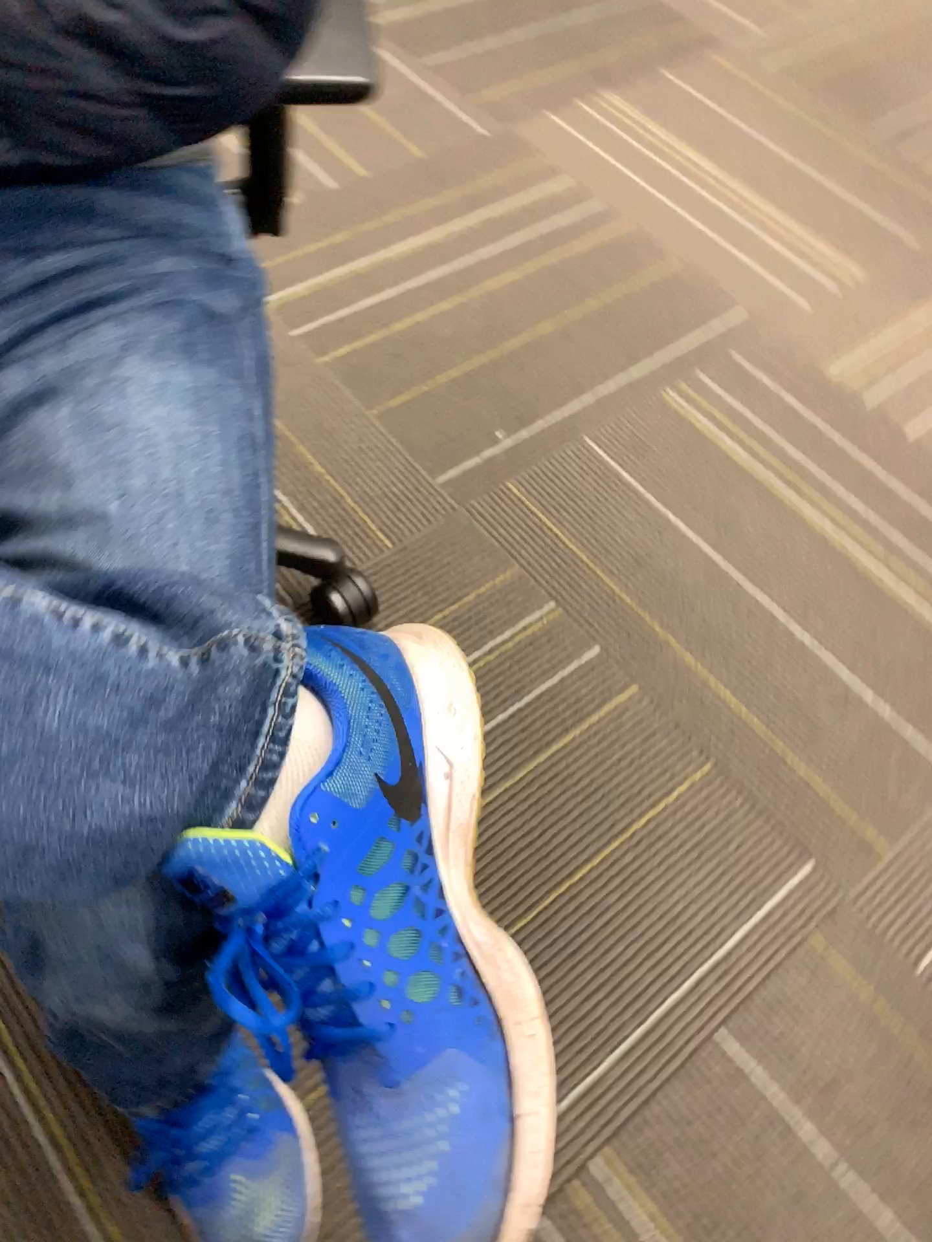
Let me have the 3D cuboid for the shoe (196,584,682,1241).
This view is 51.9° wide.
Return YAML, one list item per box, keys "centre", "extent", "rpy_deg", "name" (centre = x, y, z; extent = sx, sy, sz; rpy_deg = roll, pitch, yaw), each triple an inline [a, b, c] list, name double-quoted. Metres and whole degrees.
- centre: [-0.032, 0.136, 0.400]
  extent: [0.103, 0.117, 0.276]
  rpy_deg: [8, 51, -33]
  name: "shoe"

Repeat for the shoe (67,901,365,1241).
- centre: [-0.203, 0.384, 0.771]
  extent: [0.101, 0.086, 0.284]
  rpy_deg: [-28, 65, -24]
  name: "shoe"
